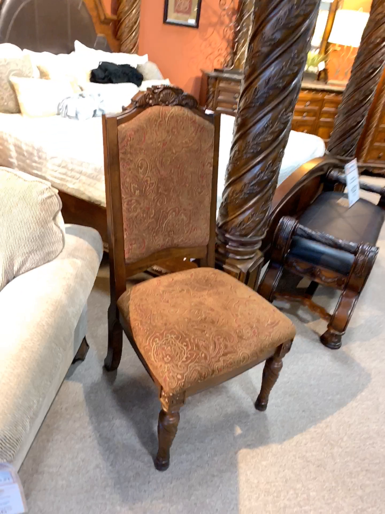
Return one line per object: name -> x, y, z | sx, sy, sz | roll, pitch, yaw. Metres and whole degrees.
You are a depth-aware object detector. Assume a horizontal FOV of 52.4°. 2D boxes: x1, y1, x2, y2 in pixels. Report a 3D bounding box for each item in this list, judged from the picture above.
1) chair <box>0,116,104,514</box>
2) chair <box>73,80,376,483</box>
chair -> -0.816, 0.187, 1.142 | 0.880, 0.864, 0.902 | 8, 31, 0
chair -> 0.002, 0.050, 1.383 | 0.591, 1.123, 0.639 | -14, 37, -33
